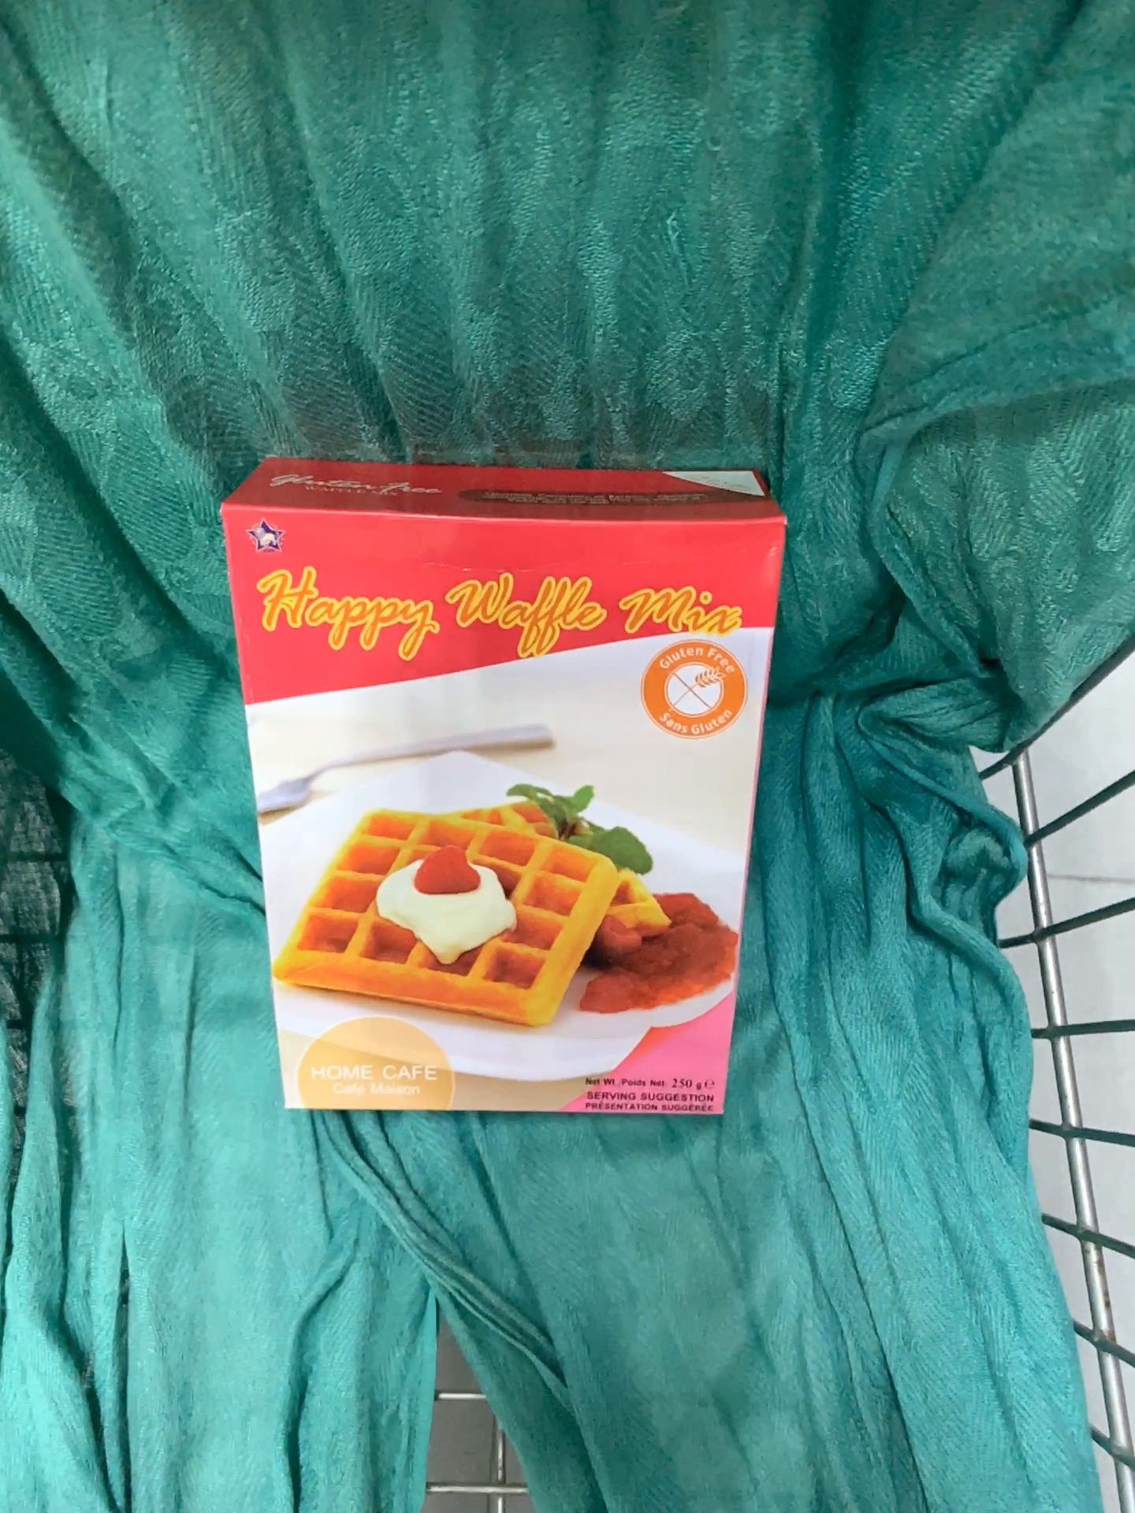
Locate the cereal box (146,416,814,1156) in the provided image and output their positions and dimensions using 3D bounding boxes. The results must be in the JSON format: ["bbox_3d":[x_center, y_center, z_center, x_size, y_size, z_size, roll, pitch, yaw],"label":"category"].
[{"bbox_3d":[-0.019,0.014,0.292,0.130,0.180,0.050,2,28,1],"label":"cereal box"}]
